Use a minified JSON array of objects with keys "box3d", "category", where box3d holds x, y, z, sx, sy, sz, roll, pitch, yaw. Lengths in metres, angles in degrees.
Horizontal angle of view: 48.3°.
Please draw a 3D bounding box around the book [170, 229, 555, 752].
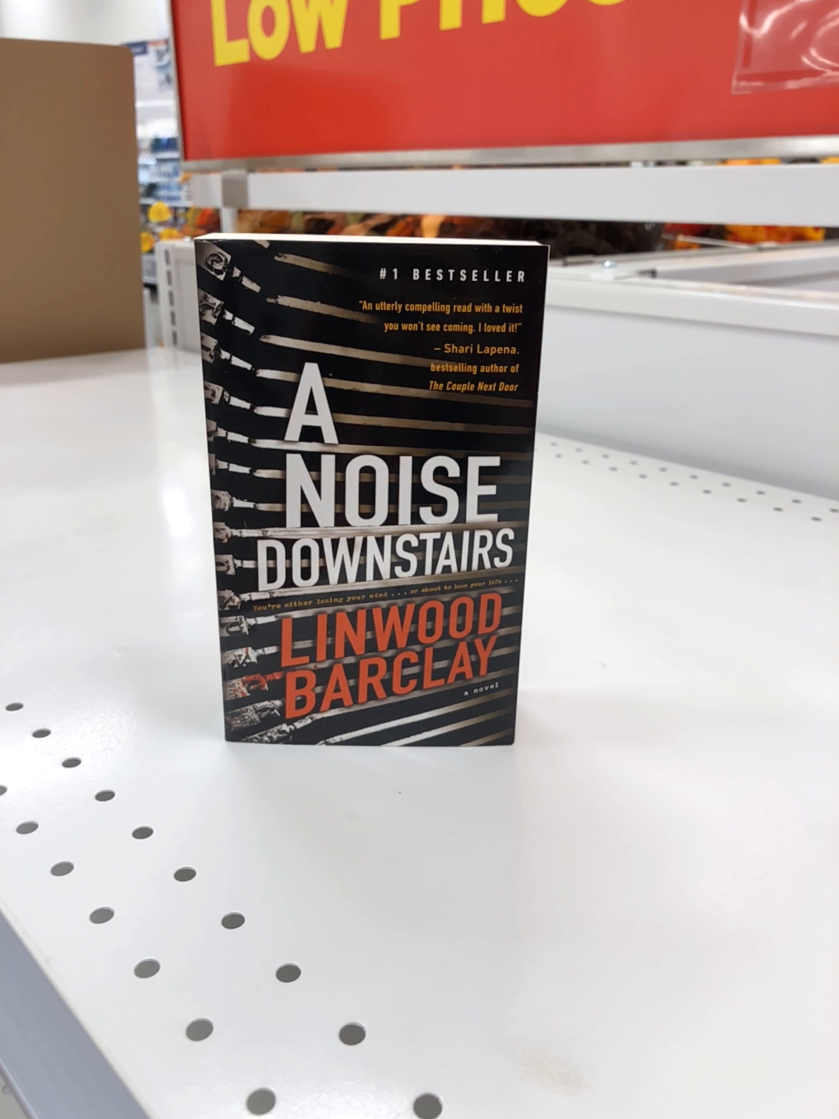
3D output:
[{"box3d":[-0.016,-0.020,0.316,0.110,0.170,0.041,1,22,2],"category":"book"}]
